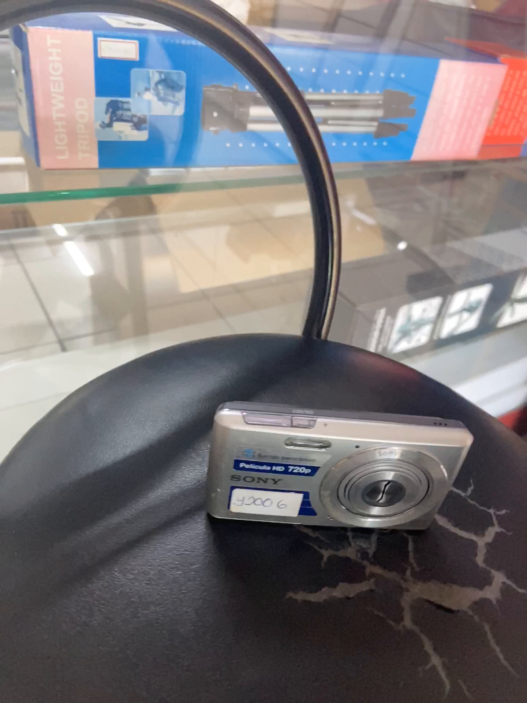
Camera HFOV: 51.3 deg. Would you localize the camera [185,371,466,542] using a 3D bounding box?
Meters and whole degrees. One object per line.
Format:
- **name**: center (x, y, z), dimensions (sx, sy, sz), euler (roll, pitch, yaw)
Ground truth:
- **camera**: center (0.021, 0.045, 0.227), dimensions (0.100, 0.060, 0.030), euler (6, 37, -6)
